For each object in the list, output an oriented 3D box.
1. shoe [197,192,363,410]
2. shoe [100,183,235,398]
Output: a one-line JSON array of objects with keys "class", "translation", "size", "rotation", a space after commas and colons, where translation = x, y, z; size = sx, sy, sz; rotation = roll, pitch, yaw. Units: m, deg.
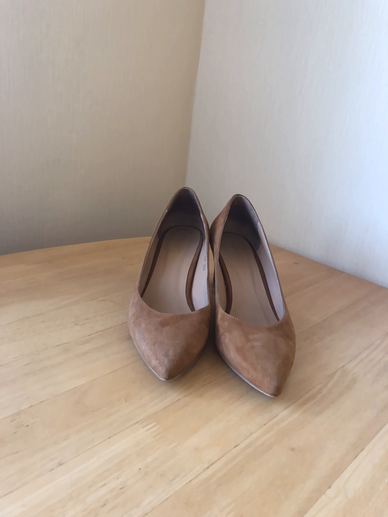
[{"class": "shoe", "translation": [0.062, 0.019, 0.439], "size": [0.089, 0.110, 0.261], "rotation": [5, 21, -5]}, {"class": "shoe", "translation": [-0.018, 0.008, 0.431], "size": [0.089, 0.110, 0.251], "rotation": [7, 21, 0]}]
